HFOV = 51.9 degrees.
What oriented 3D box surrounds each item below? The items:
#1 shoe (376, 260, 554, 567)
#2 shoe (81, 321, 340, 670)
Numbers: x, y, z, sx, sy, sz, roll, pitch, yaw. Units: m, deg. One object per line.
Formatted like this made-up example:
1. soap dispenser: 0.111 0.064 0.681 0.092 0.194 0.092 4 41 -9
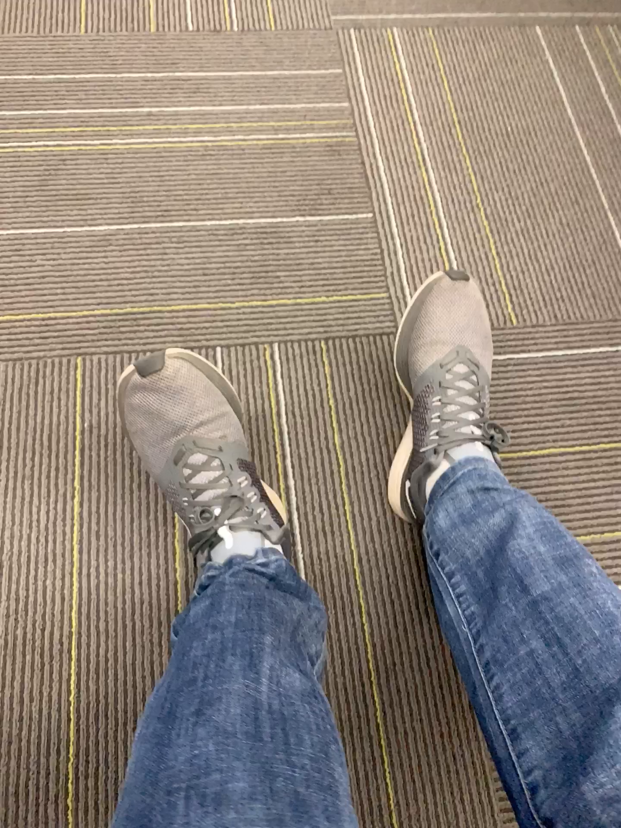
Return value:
1. shoe: 0.150 -0.008 0.666 0.119 0.122 0.294 -1 103 -11
2. shoe: -0.085 0.084 0.596 0.119 0.293 0.122 -24 36 -6
